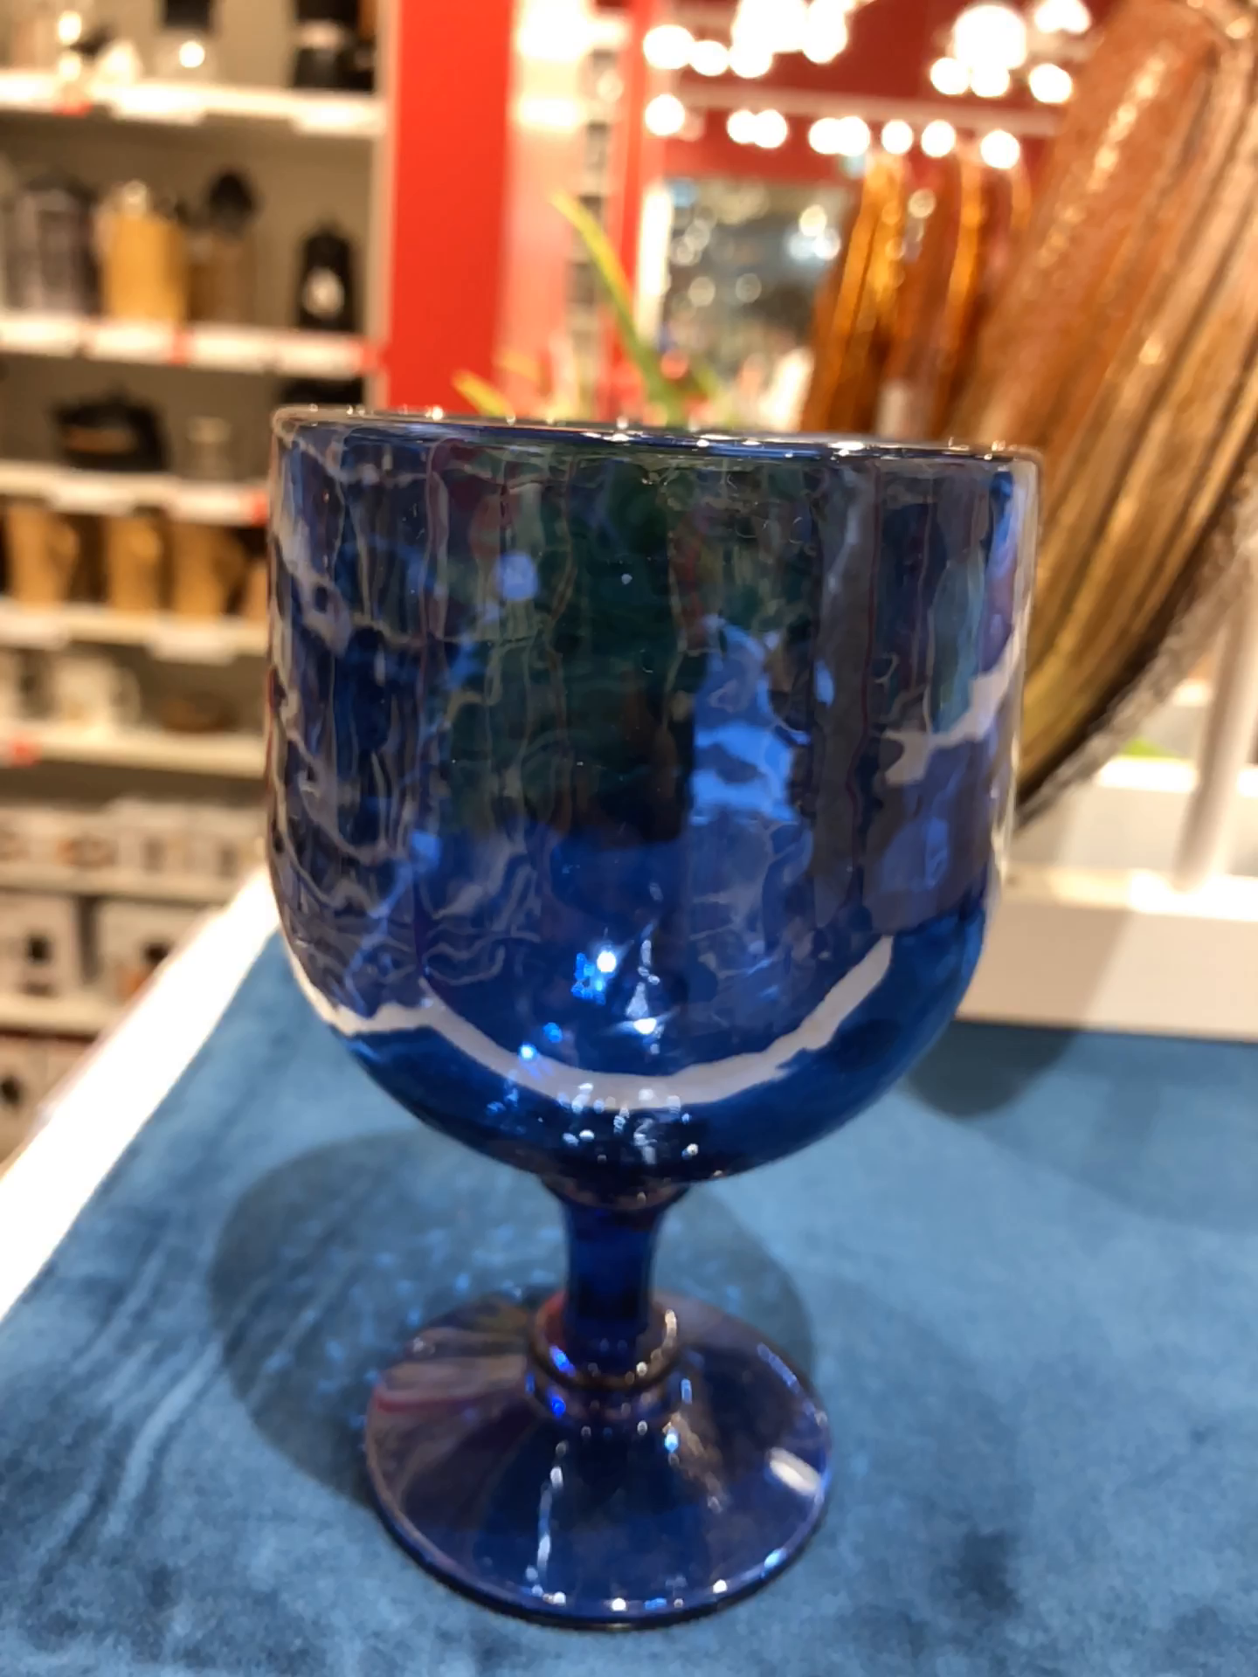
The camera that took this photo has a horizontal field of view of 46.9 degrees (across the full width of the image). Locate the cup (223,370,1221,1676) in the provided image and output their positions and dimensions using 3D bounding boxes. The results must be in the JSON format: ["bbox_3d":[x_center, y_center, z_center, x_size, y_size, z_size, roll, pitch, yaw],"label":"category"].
[{"bbox_3d":[-0.002,0.017,0.183,0.090,0.140,0.080,-1,18,-14],"label":"cup"}]
